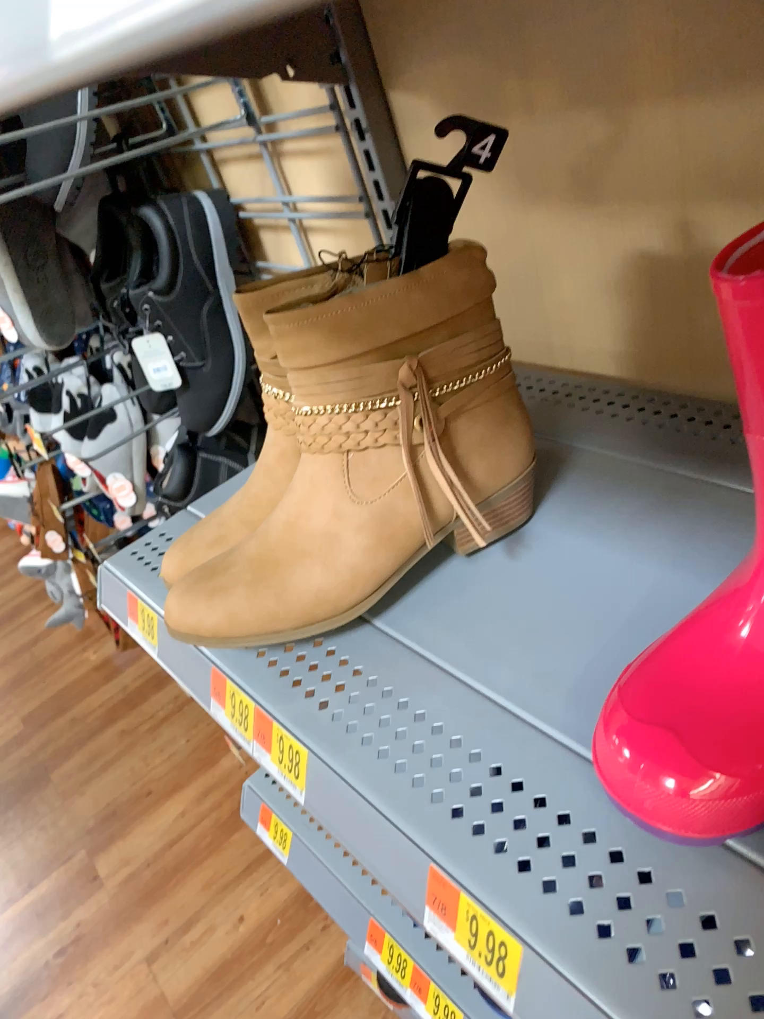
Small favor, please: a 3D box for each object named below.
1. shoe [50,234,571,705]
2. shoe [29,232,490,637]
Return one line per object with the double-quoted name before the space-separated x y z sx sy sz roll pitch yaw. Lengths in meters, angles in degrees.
"shoe" -0.031 -0.026 0.439 0.237 0.154 0.083 -27 33 -10
"shoe" -0.066 -0.045 0.487 0.217 0.161 0.089 -21 32 -1
